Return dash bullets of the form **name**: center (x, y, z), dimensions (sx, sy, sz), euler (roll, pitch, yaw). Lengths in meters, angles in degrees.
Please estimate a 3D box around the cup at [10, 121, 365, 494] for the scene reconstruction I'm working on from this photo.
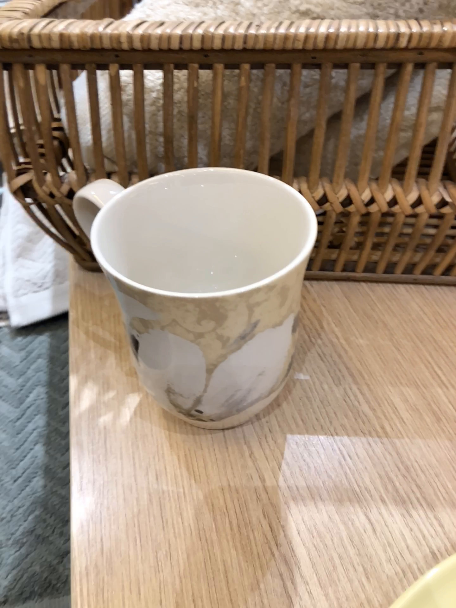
- **cup**: center (-0.021, -0.008, 0.246), dimensions (0.090, 0.099, 0.130), euler (-30, 49, -26)
